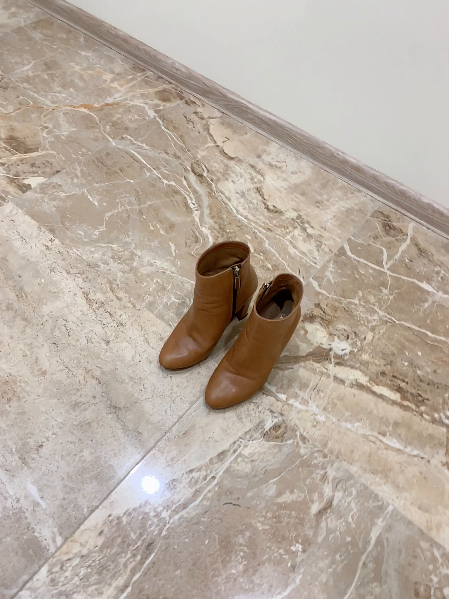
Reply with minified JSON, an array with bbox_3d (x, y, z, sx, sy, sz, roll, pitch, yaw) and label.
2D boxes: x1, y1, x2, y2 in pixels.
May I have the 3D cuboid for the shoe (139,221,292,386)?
[{"bbox_3d":[-0.016,0.009,0.756,0.220,0.185,0.090,-33,64,-24],"label":"shoe"}]

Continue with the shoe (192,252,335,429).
[{"bbox_3d":[0.055,0.065,0.714,0.090,0.175,0.210,36,60,18],"label":"shoe"}]
